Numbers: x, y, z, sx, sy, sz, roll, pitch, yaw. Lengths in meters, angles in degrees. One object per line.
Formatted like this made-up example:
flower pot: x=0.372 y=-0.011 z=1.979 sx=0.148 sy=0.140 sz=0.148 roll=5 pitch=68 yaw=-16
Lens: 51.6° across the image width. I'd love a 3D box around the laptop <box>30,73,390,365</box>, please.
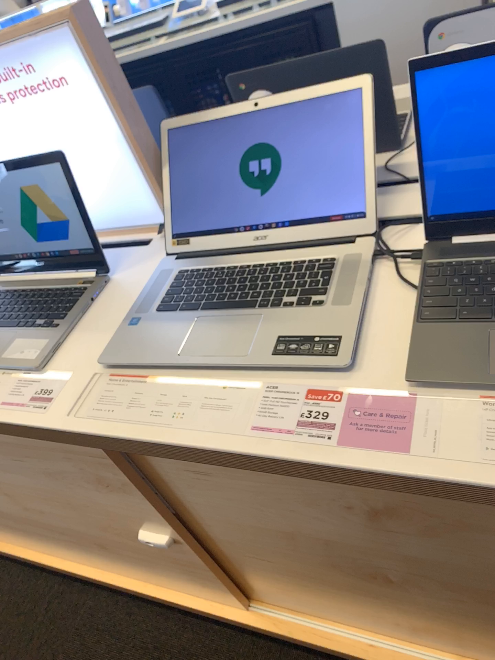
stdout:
laptop: x=-0.015 y=-0.168 z=0.759 sx=0.375 sy=0.168 sz=0.433 roll=-1 pitch=45 yaw=25
